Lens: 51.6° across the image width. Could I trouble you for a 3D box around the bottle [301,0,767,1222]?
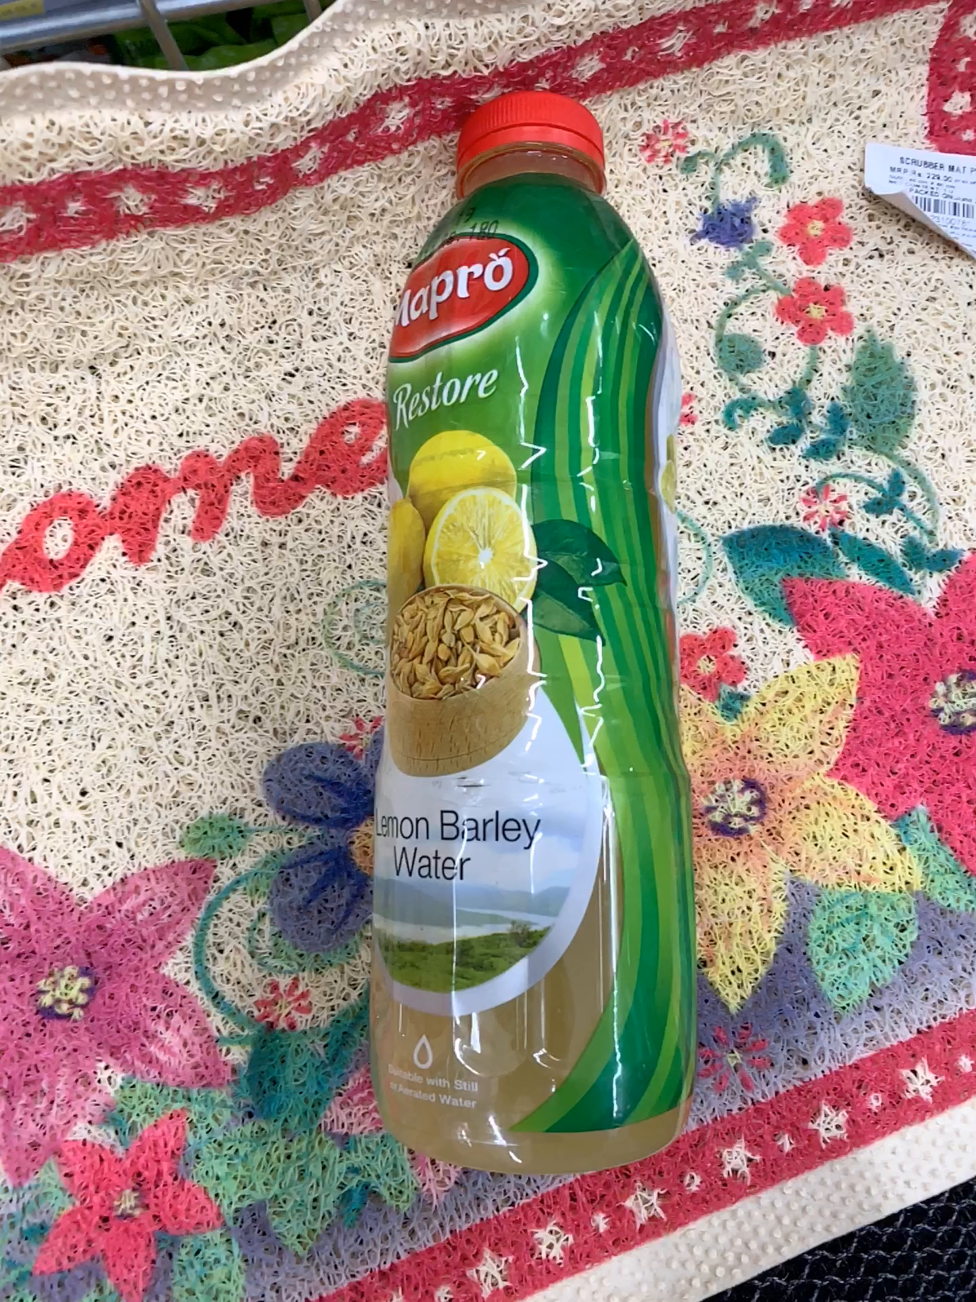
[{"bbox_3d":[0.014,-0.022,0.259,0.080,0.090,0.270,-6,80,26],"label":"bottle"}]
